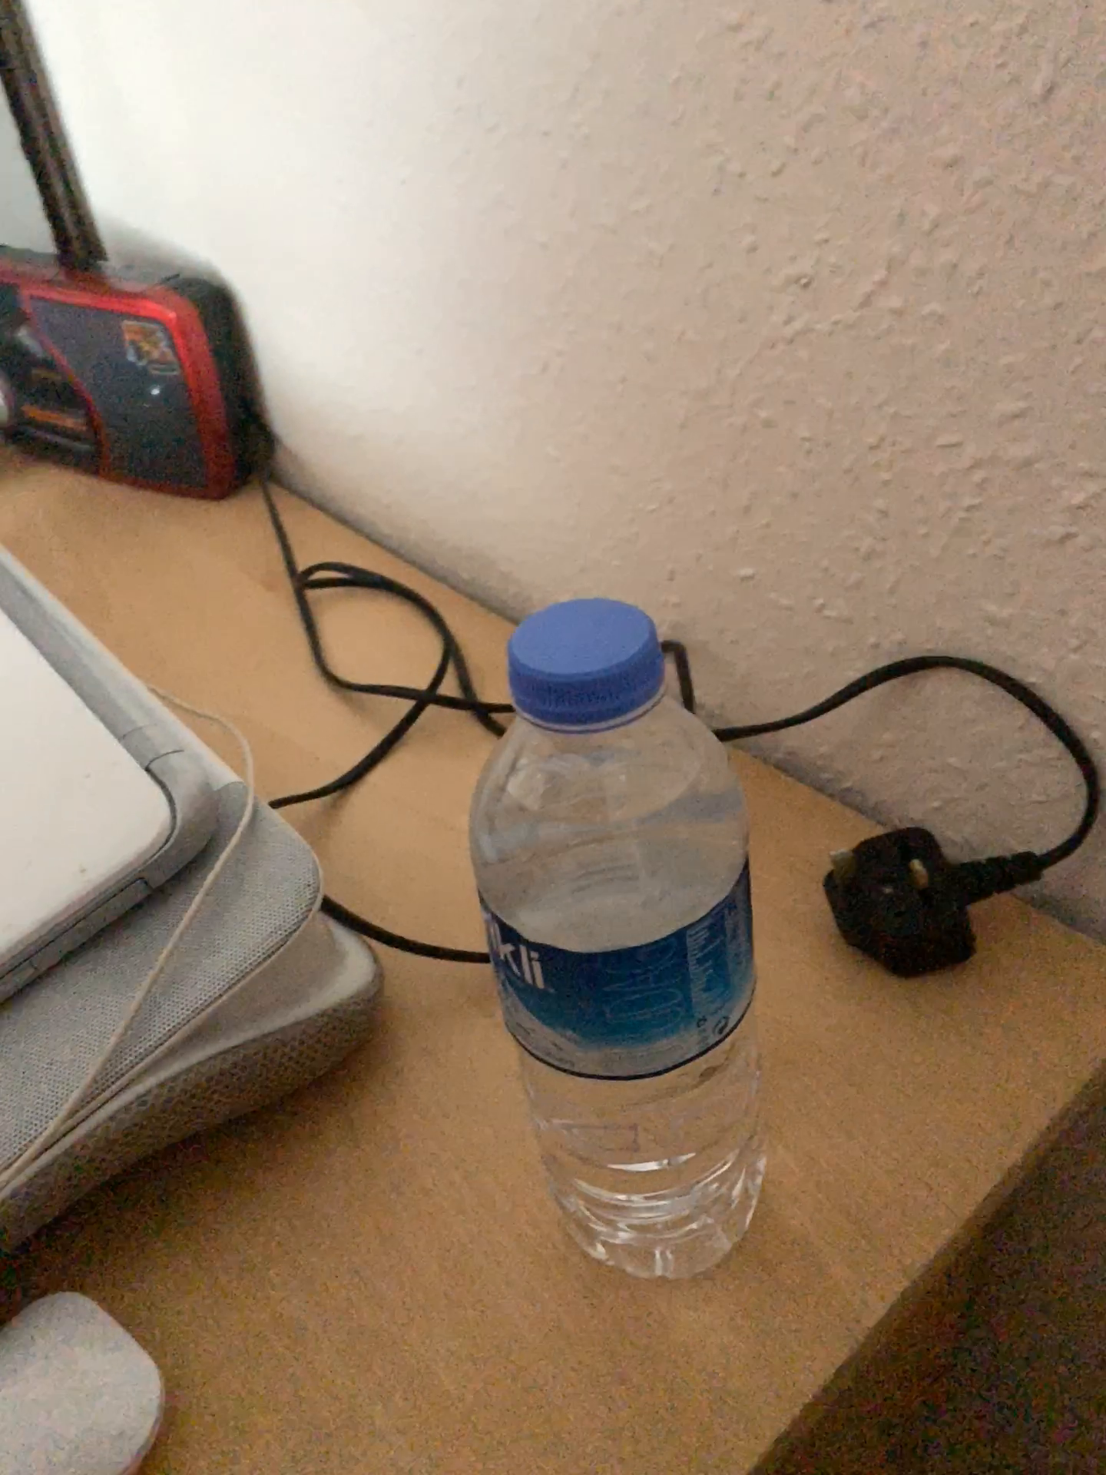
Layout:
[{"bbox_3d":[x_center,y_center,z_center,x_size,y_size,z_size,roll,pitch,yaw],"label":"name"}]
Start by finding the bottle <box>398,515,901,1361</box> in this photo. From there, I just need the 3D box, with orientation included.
[{"bbox_3d":[0.022,0.055,0.269,0.070,0.188,0.071,-4,37,3],"label":"bottle"}]
